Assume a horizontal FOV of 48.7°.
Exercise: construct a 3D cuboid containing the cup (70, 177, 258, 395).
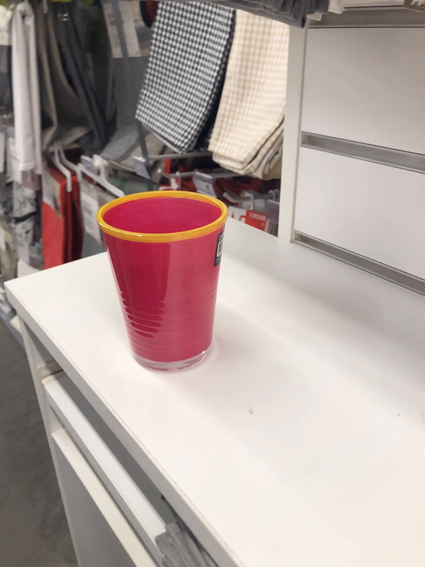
[{"bbox_3d":[-0.029,-0.005,0.296,0.079,0.094,0.085,-1,28,1],"label":"cup"}]
